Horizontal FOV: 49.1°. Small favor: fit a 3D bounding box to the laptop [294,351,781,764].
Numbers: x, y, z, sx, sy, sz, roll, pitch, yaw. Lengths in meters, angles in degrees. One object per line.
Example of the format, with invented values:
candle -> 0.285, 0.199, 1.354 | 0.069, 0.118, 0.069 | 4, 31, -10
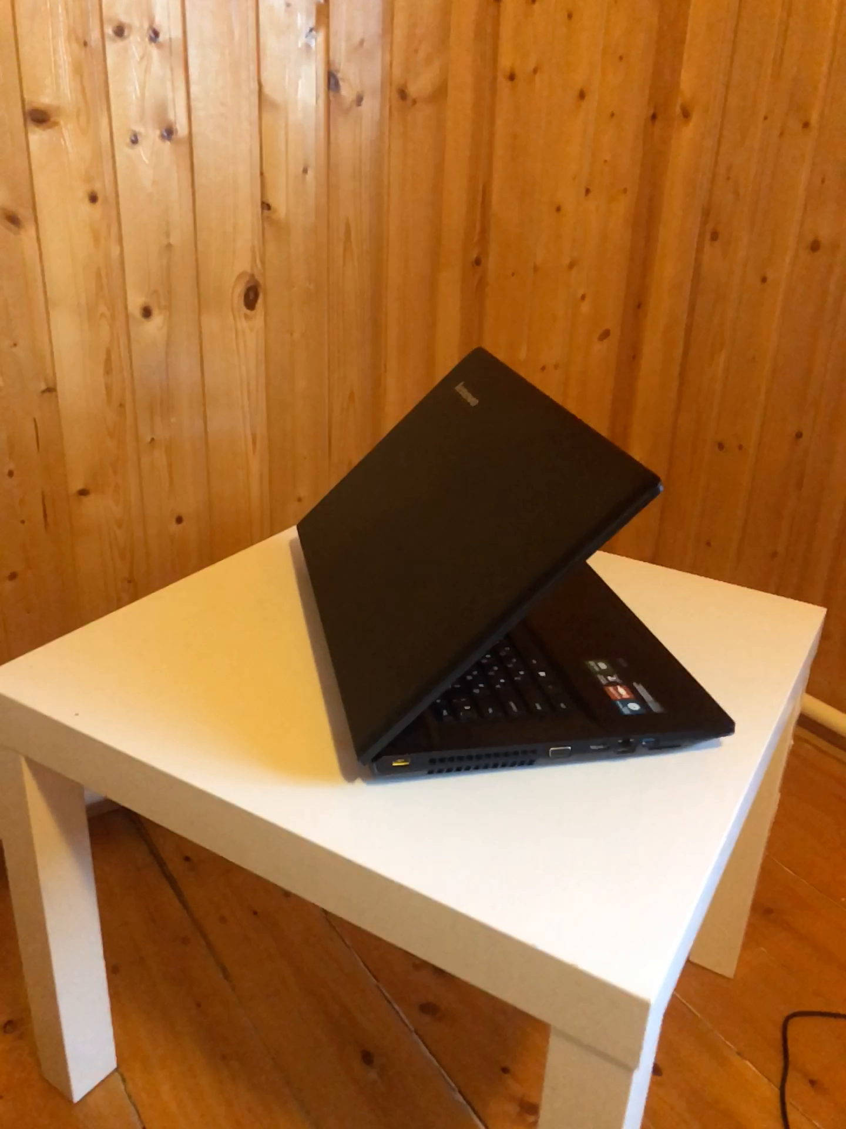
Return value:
laptop -> 0.048, -0.045, 0.778 | 0.271, 0.184, 0.412 | -3, 24, -12
